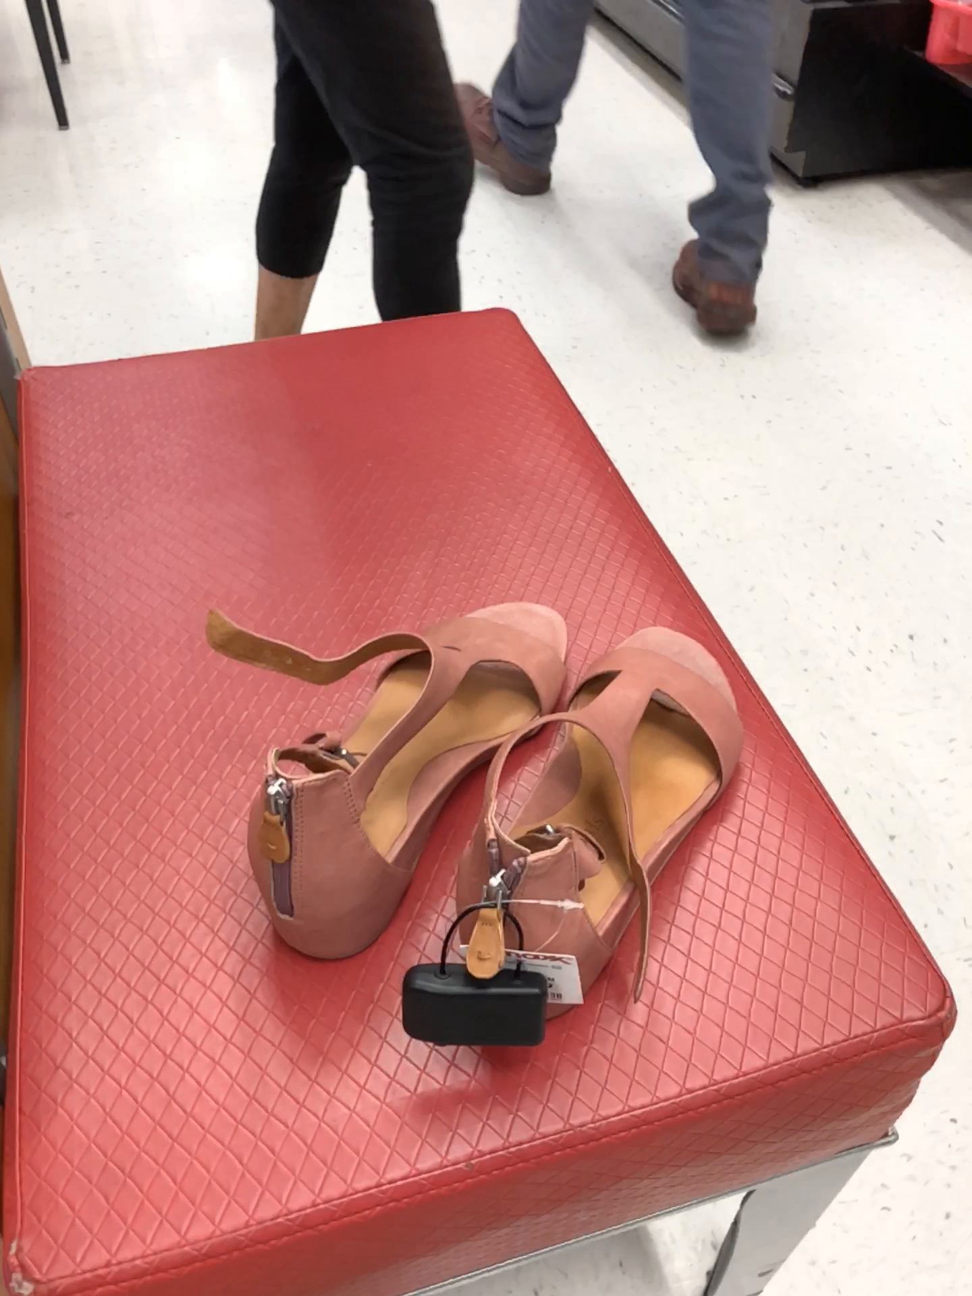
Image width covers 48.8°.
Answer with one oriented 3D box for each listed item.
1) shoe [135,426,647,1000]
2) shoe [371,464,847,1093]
[{"bbox_3d":[-0.030,0.016,0.529,0.106,0.116,0.261,23,47,20],"label":"shoe"},{"bbox_3d":[0.066,0.045,0.508,0.103,0.126,0.264,23,47,20],"label":"shoe"}]
